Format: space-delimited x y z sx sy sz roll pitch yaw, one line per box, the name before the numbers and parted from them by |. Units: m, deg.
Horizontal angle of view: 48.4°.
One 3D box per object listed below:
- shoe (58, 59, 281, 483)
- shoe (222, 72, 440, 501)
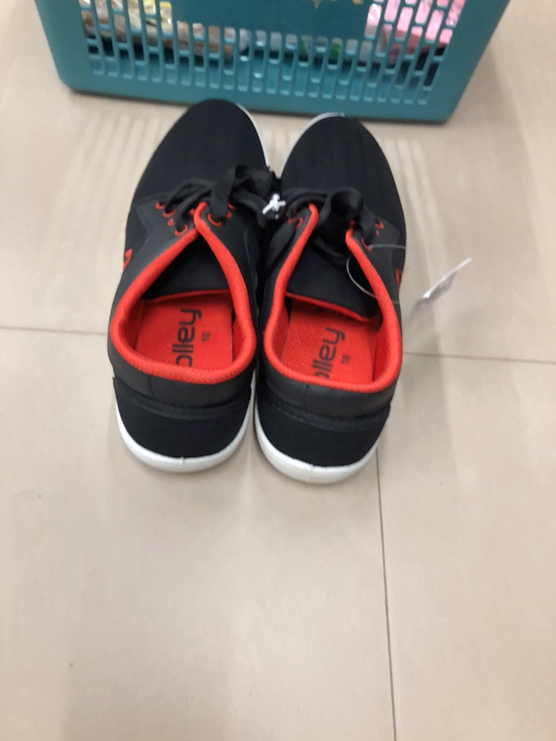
shoe | -0.059 -0.070 0.403 0.105 0.103 0.261 2 61 -6
shoe | 0.035 -0.062 0.410 0.105 0.103 0.261 8 60 -2
